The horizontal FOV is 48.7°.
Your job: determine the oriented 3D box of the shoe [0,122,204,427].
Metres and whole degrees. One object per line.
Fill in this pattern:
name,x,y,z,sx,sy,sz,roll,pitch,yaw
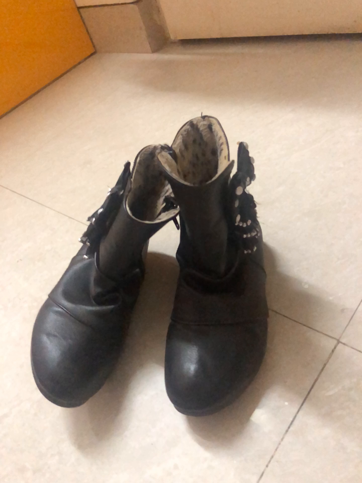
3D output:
shoe,-0.062,0.025,0.343,0.090,0.139,0.201,20,50,-5

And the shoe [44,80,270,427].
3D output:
shoe,0.011,0.001,0.312,0.090,0.139,0.221,-5,46,20
